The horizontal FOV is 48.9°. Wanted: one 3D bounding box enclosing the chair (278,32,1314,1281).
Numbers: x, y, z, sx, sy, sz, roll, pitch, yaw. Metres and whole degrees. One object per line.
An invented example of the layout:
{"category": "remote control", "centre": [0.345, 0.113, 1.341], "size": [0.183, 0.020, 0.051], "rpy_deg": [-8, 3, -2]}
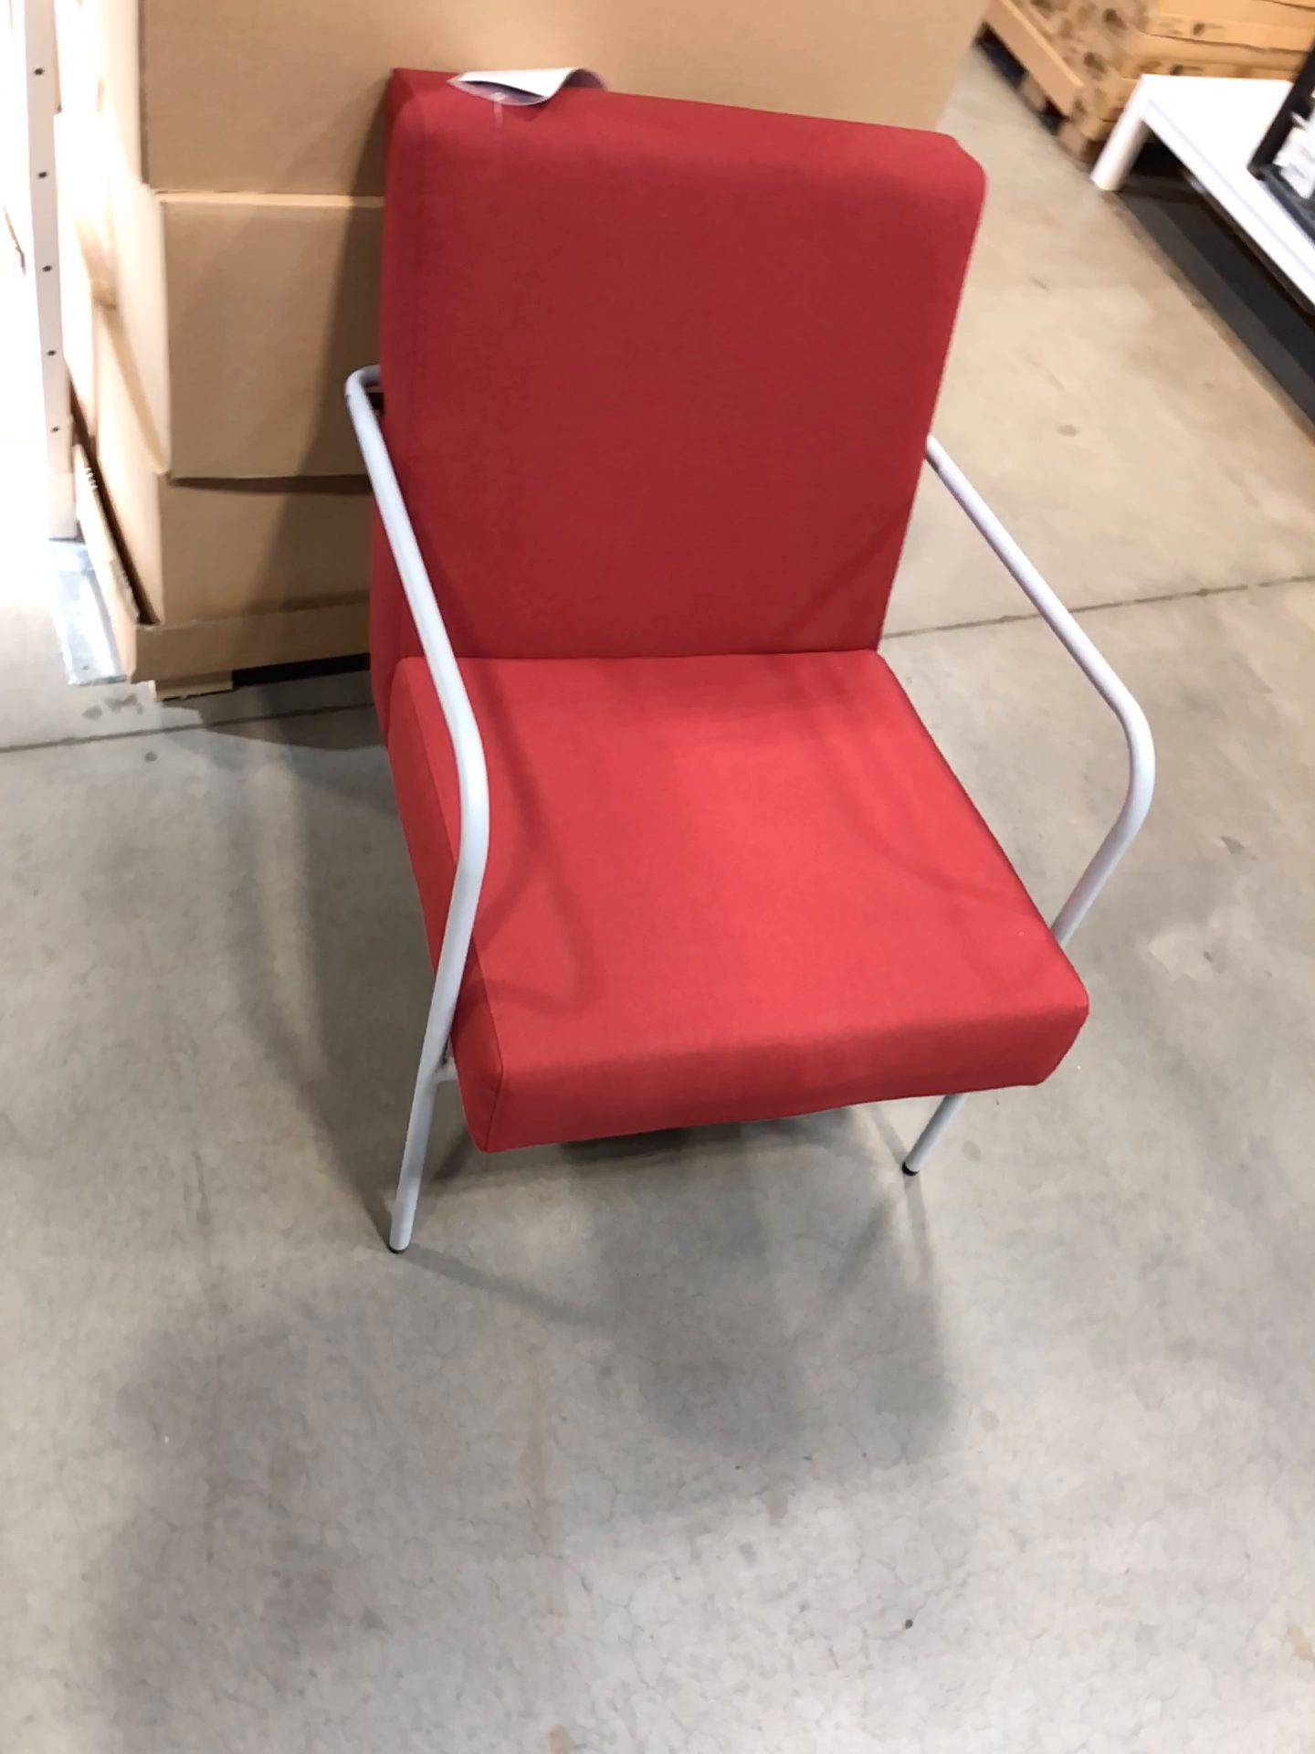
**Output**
{"category": "chair", "centre": [0.033, -0.173, 1.326], "size": [0.630, 0.708, 0.762], "rpy_deg": [-4, 57, -20]}
